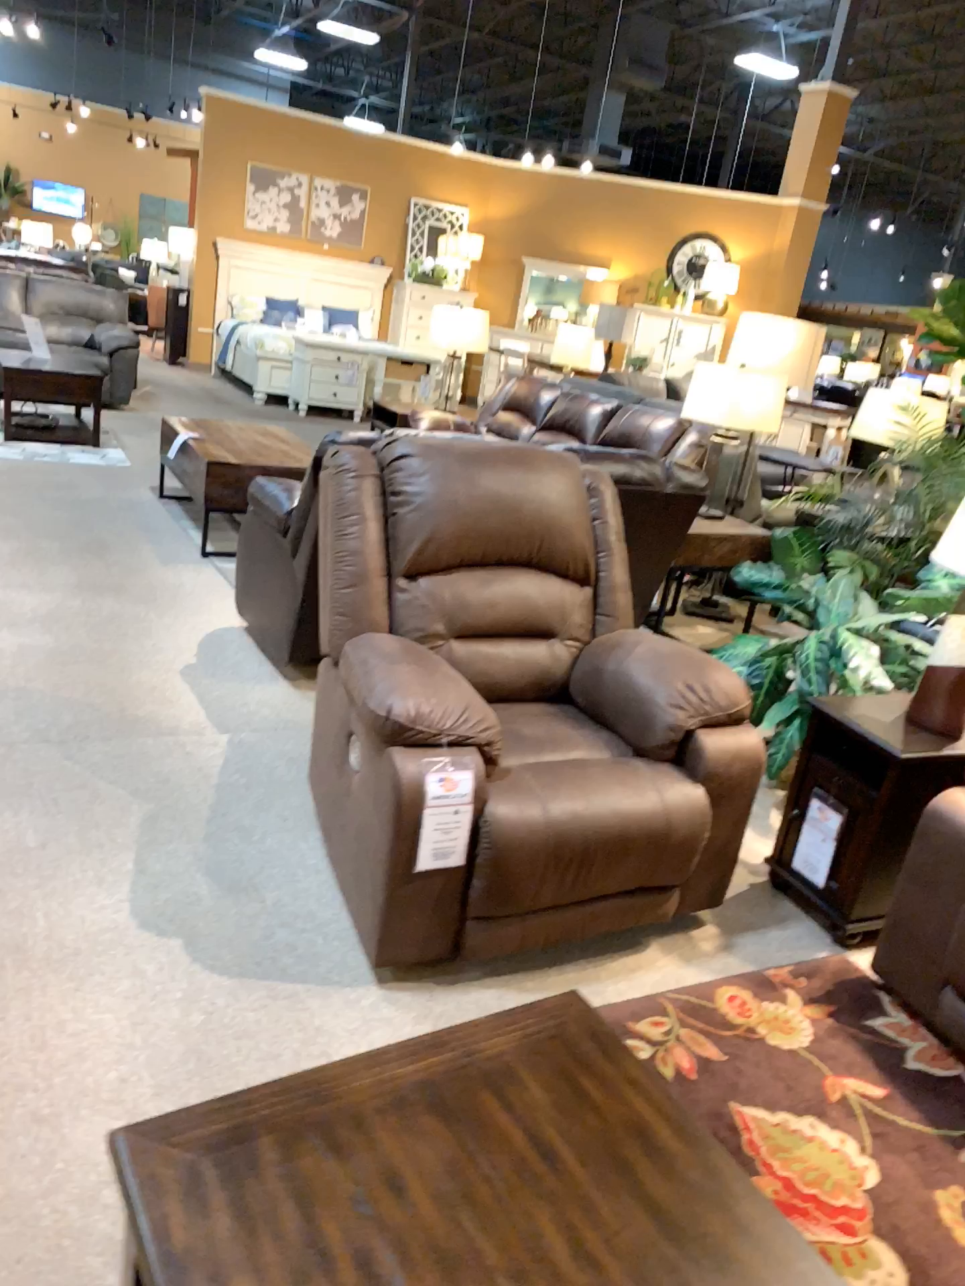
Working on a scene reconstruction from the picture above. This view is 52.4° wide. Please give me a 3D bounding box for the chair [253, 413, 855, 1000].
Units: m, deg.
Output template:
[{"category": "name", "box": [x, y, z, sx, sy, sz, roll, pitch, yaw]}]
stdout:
[{"category": "chair", "box": [0.068, 0.064, 2.542, 1.001, 1.028, 1.068, 0, 21, -27]}]
